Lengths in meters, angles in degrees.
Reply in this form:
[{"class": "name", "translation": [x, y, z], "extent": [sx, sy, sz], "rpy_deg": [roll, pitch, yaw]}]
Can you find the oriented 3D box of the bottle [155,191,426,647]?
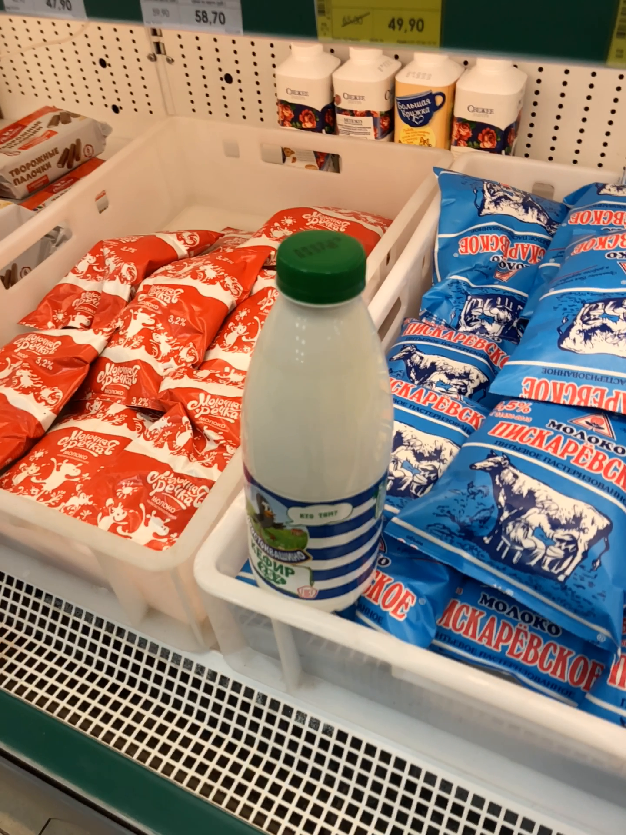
[{"class": "bottle", "translation": [-0.006, 0.011, 0.364], "extent": [0.084, 0.224, 0.080], "rpy_deg": [-1, 42, 1]}]
